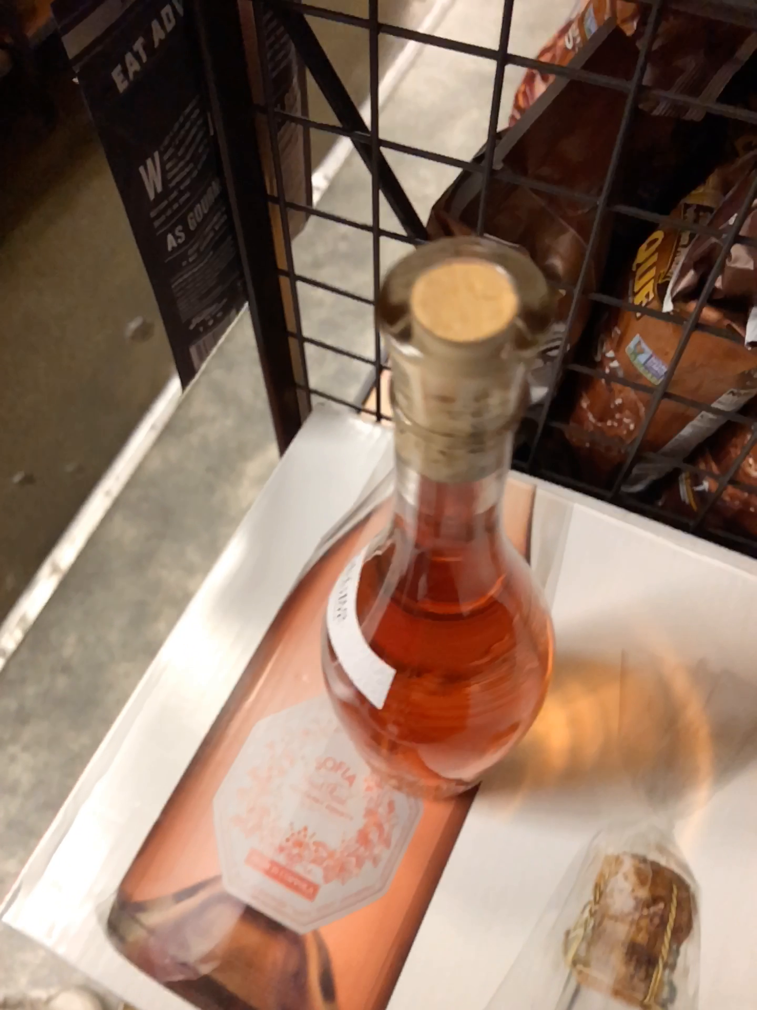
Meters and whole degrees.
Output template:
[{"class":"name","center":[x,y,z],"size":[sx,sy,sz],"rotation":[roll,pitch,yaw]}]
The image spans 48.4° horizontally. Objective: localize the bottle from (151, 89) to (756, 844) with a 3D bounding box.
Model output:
[{"class":"bottle","center":[0.019,0.034,0.275],"size":[0.090,0.300,0.080],"rotation":[14,61,8]}]
